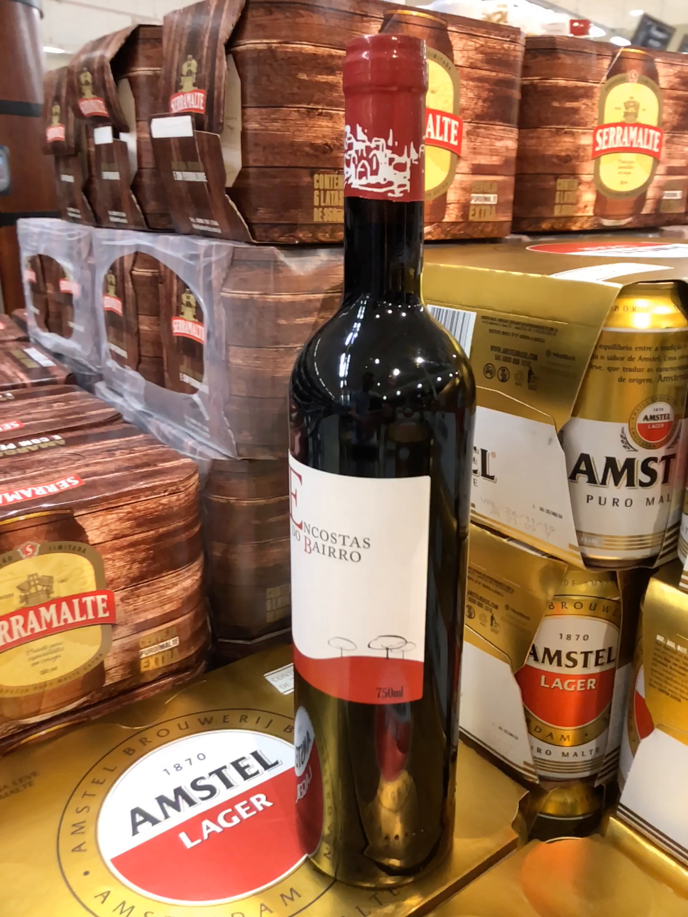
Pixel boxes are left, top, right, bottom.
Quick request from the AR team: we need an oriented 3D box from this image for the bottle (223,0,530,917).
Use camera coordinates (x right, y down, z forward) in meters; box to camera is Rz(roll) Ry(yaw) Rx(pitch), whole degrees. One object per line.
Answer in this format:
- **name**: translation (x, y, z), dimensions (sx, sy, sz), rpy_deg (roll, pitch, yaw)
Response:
- **bottle**: translation (0.012, 0.012, 0.292), dimensions (0.070, 0.318, 0.070), rpy_deg (0, 18, 0)
